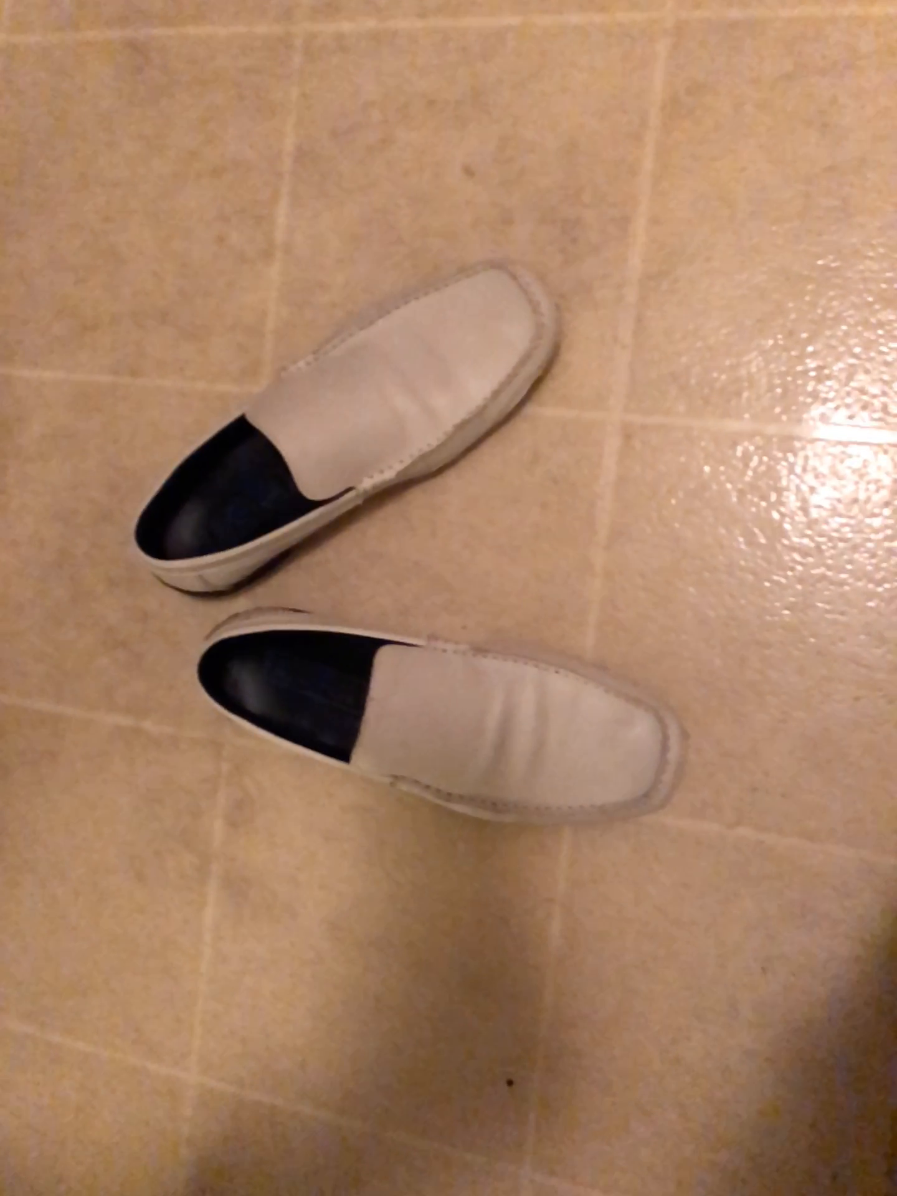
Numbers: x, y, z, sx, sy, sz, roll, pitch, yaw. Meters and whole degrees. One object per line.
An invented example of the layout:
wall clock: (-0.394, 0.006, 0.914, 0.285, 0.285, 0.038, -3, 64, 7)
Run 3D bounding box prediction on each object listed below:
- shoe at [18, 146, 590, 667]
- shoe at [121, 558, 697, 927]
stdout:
shoe: (-0.083, -0.095, 0.570, 0.306, 0.097, 0.110, -36, 81, 14)
shoe: (-0.021, 0.067, 0.554, 0.289, 0.097, 0.110, 15, 95, 15)
